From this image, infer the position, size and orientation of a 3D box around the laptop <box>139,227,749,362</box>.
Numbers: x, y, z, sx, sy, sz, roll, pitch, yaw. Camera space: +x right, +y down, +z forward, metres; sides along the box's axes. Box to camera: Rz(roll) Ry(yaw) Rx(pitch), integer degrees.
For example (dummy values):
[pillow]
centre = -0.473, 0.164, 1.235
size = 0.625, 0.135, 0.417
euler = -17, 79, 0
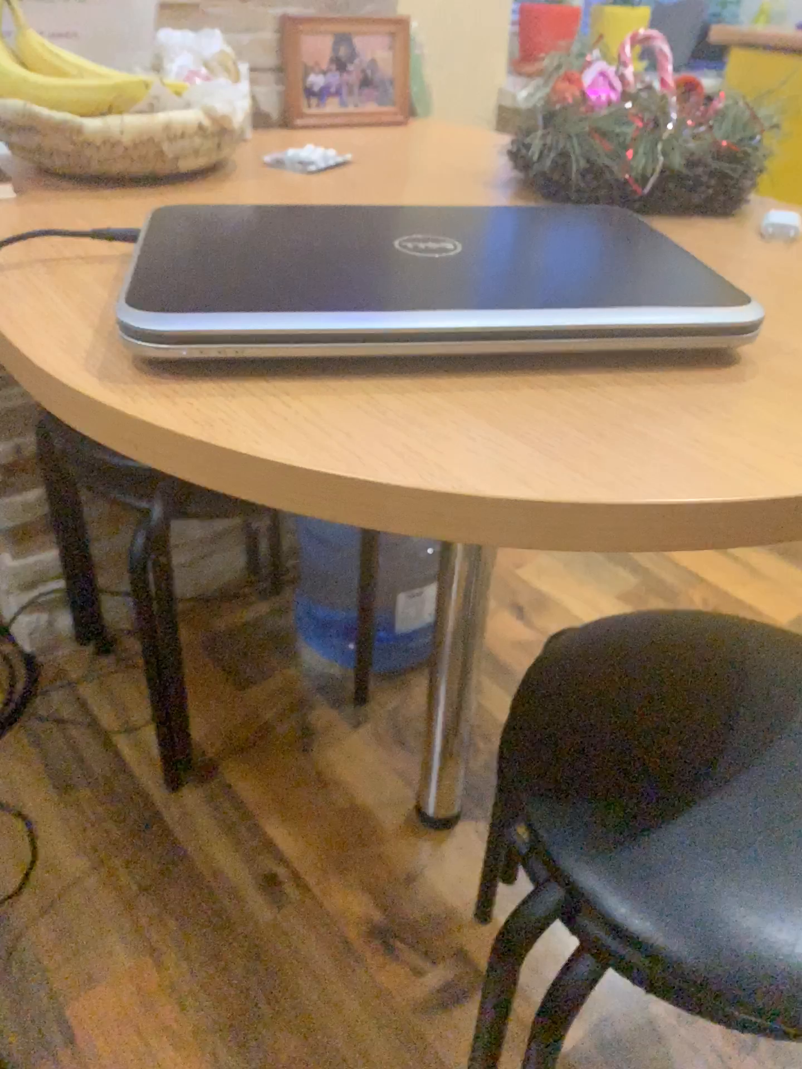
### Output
[laptop]
centre = 0.017, -0.170, 0.558
size = 0.348, 0.004, 0.226
euler = -3, 37, -7
